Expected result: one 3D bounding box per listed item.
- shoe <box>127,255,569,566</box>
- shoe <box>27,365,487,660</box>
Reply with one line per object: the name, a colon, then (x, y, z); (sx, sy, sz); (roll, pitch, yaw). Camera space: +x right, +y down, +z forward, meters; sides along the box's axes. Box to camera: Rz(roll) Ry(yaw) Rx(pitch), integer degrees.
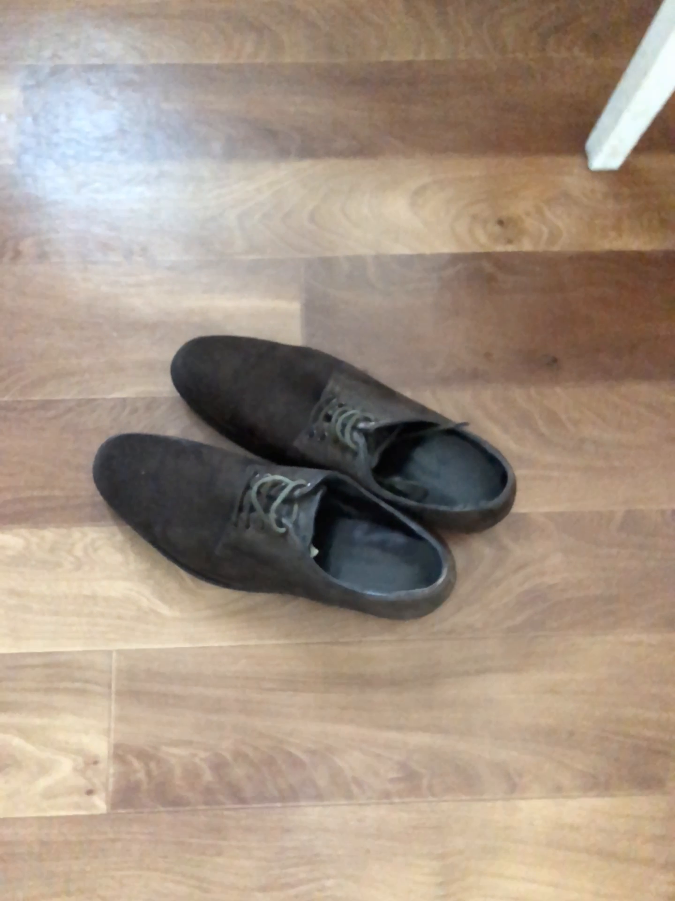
shoe: (0.007, -0.028, 0.609); (0.310, 0.100, 0.120); (23, 76, 5)
shoe: (-0.058, 0.053, 0.590); (0.310, 0.100, 0.120); (19, 76, 4)
